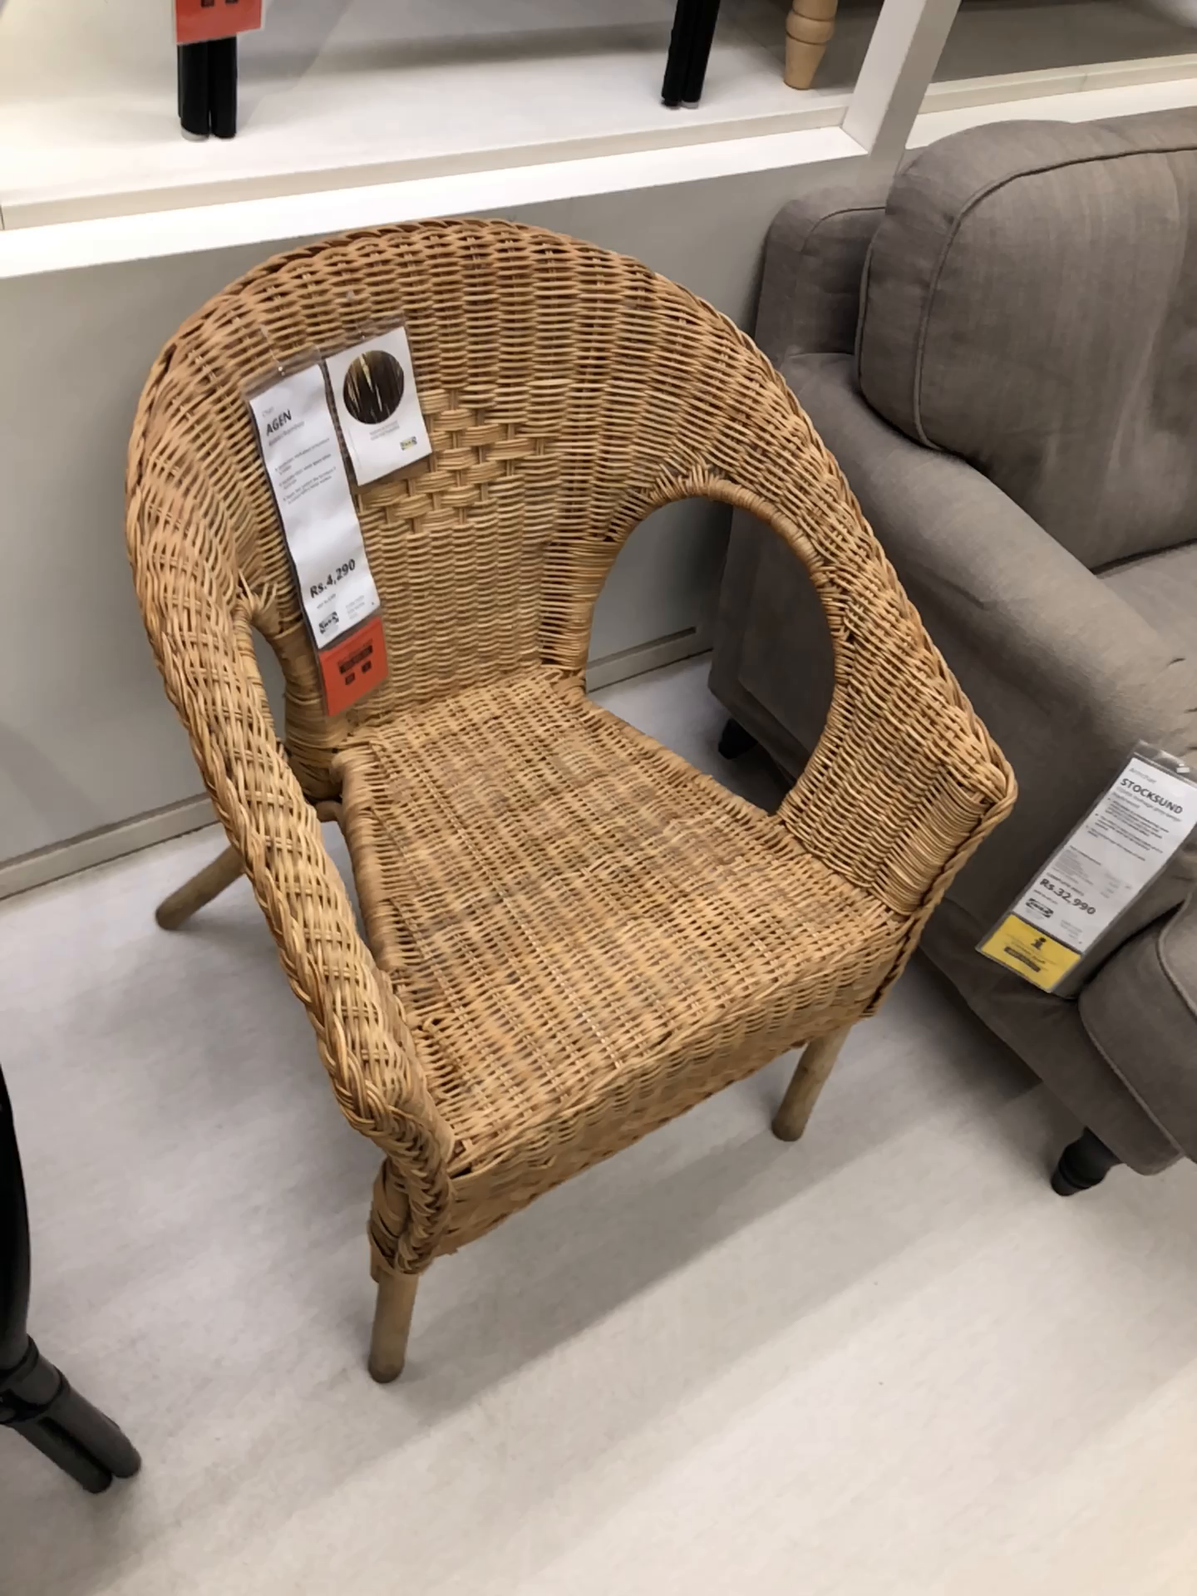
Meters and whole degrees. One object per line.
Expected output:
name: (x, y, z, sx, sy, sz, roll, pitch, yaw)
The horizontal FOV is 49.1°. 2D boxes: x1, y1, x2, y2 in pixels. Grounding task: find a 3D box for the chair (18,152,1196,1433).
chair: (-0.032, 0.001, 1.063, 0.551, 0.696, 0.602, -22, 60, -27)
